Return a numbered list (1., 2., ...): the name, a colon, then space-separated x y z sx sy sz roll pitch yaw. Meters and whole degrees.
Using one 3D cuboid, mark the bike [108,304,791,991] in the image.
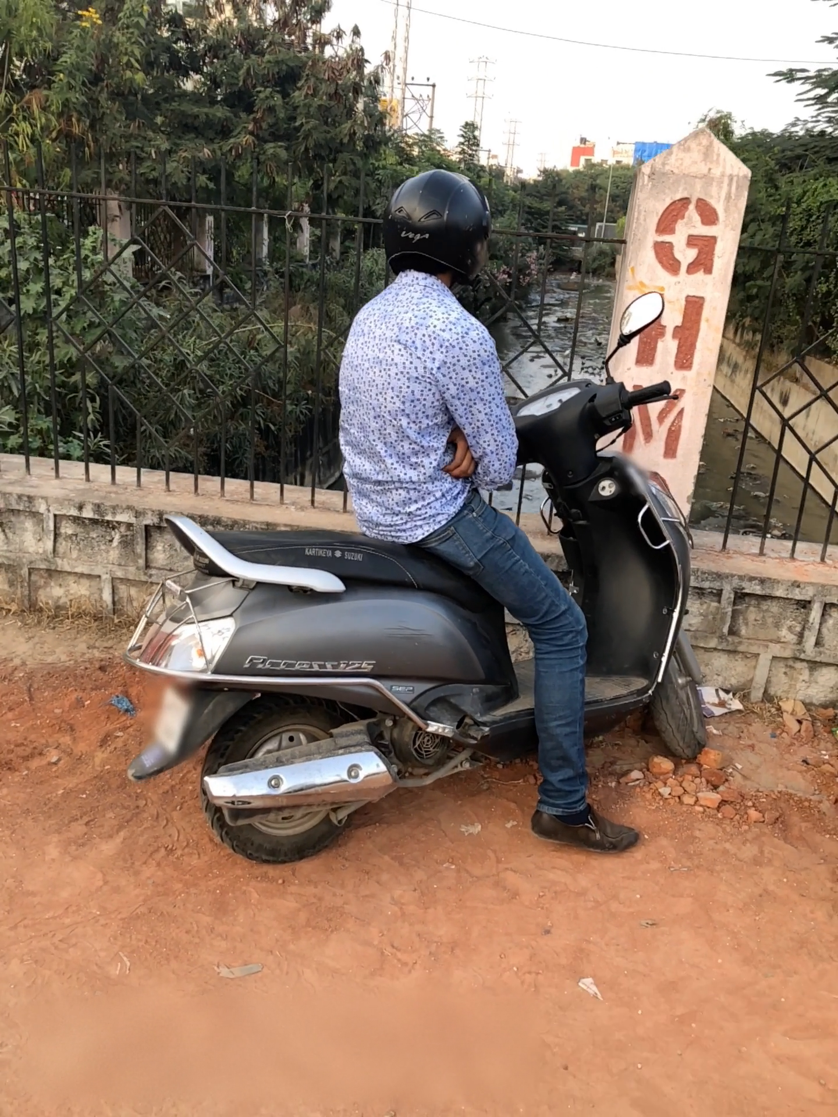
1. bike: 0.100 0.039 2.512 1.582 1.217 0.799 -15 27 -37
